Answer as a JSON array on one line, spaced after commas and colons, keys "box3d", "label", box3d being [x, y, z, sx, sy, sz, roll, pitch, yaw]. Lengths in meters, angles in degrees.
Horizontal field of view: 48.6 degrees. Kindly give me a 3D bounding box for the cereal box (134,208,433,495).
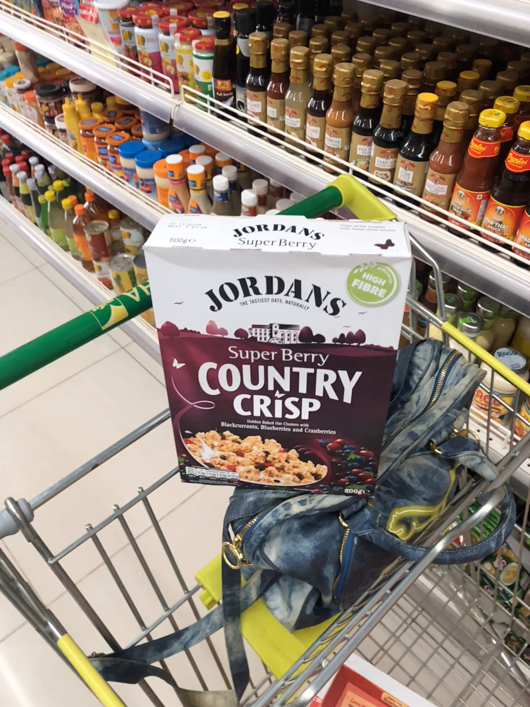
[{"box3d": [0.011, 0.011, 0.445, 0.180, 0.229, 0.050, 2, 39, 3], "label": "cereal box"}]
